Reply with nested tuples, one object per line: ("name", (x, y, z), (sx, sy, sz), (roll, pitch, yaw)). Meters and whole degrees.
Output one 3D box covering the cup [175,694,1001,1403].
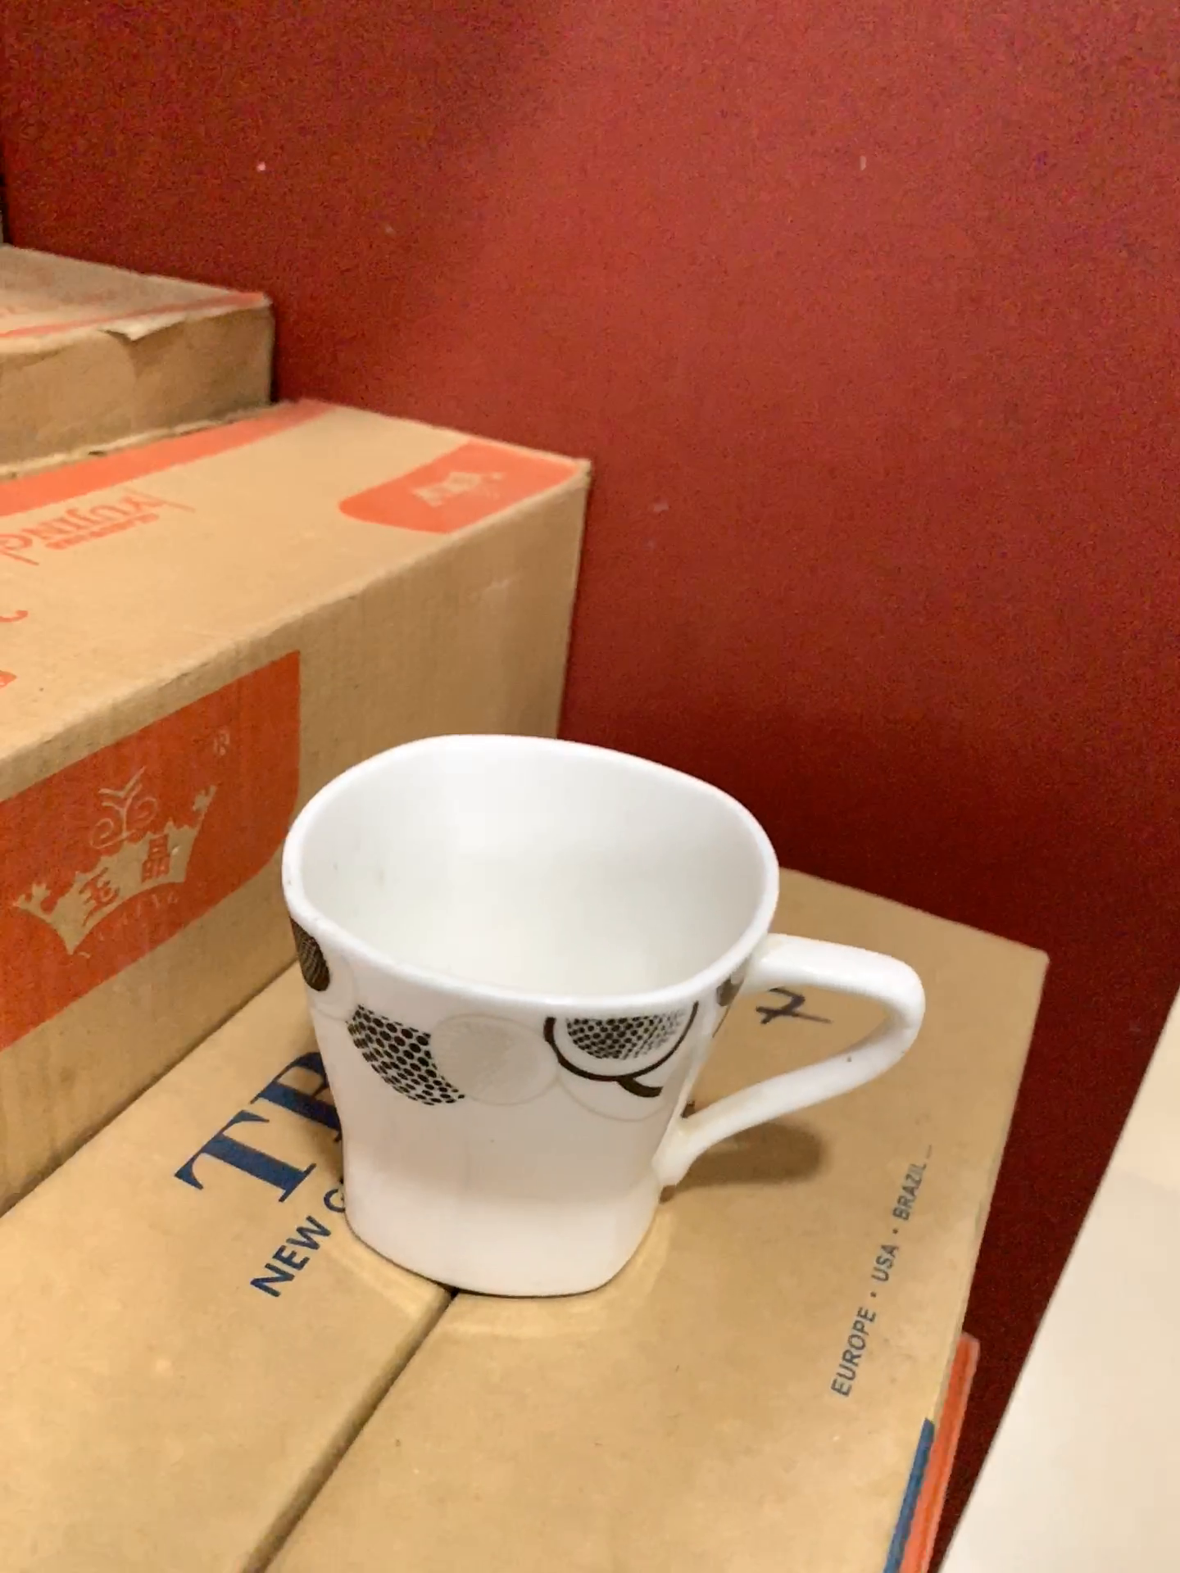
("cup", (0.000, 0.032, 0.175), (0.090, 0.060, 0.060), (8, 29, 4))
